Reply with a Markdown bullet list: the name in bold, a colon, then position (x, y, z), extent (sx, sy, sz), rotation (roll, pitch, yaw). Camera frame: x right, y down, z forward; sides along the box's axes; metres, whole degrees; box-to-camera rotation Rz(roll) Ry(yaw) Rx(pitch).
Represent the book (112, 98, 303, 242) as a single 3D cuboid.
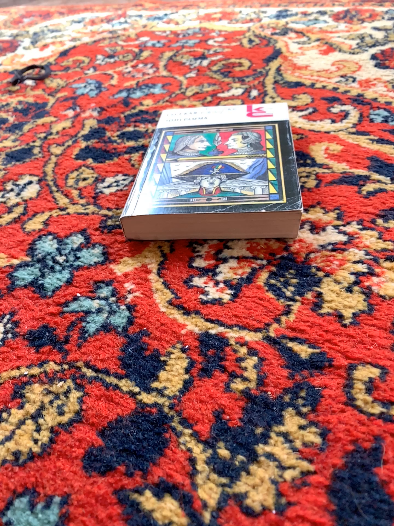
- **book**: position (0.014, -0.076, 0.303), extent (0.110, 0.022, 0.164), rotation (-1, 42, 9)
